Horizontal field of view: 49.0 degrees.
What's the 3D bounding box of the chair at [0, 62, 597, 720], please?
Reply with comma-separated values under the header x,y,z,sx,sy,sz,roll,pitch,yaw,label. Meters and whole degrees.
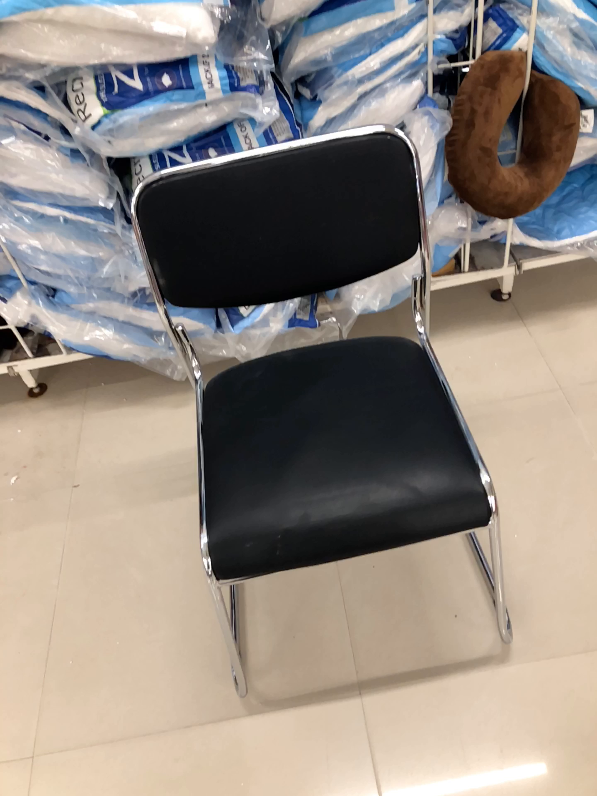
x,y,z,sx,sy,sz,roll,pitch,yaw,label
0.029,0.039,1.040,0.570,0.795,0.563,-11,46,1,chair
